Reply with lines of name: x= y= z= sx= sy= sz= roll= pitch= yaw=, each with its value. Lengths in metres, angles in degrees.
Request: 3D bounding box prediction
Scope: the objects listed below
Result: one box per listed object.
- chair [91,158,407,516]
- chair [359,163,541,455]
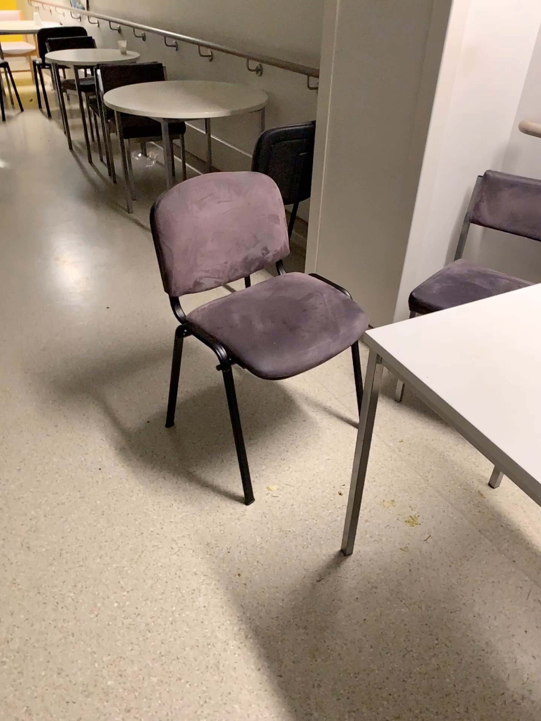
chair: x=-0.073 y=-0.118 z=1.683 sx=0.602 sy=0.753 sz=0.603 roll=-26 pitch=44 yaw=-35
chair: x=0.709 y=-0.206 z=1.896 sx=0.502 sy=0.723 sz=0.563 roll=25 pitch=40 yaw=29
